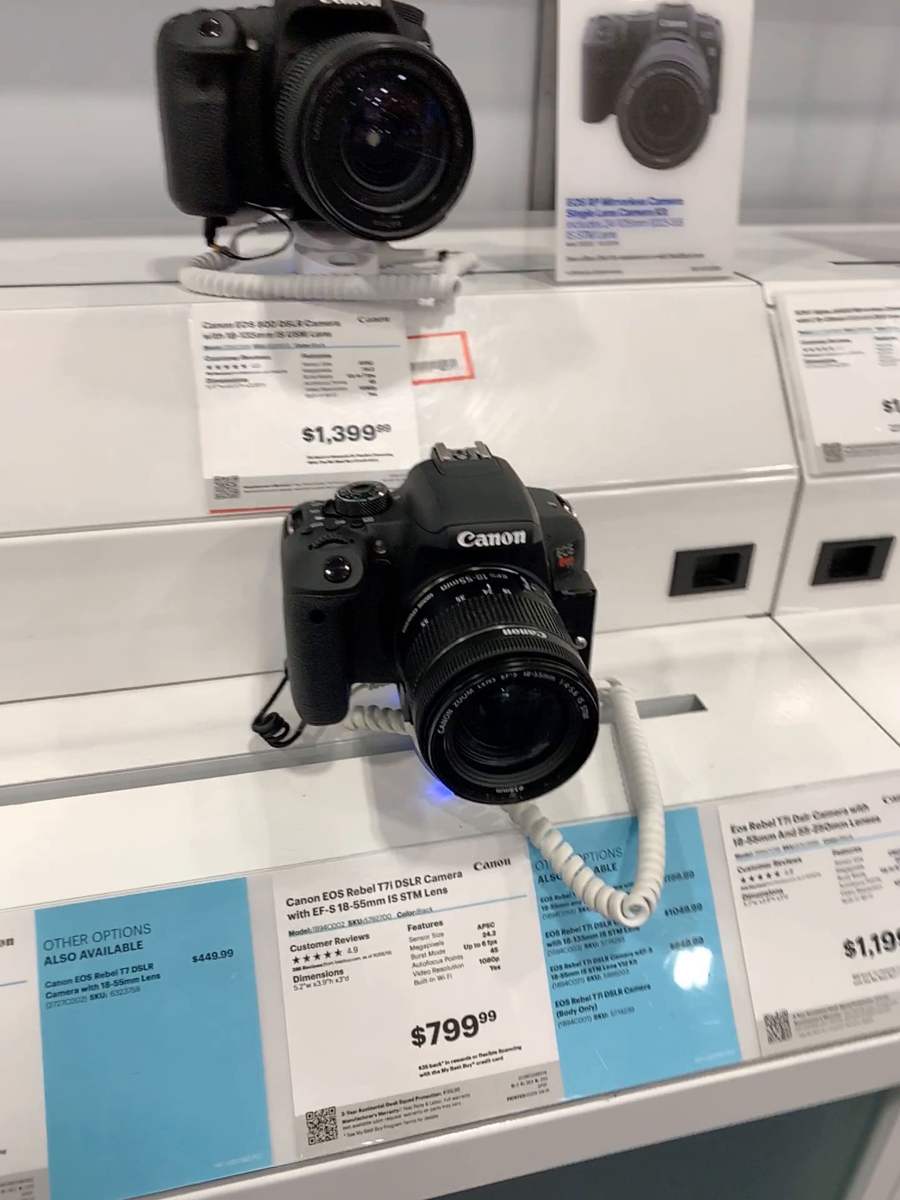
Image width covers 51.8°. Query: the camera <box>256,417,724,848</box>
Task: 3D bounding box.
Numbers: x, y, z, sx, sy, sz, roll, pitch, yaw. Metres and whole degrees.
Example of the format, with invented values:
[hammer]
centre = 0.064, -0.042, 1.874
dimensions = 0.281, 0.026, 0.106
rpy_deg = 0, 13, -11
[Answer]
[camera]
centre = 0.003, 0.002, 0.358
dimensions = 0.140, 0.099, 0.131
rpy_deg = -5, 30, -11
